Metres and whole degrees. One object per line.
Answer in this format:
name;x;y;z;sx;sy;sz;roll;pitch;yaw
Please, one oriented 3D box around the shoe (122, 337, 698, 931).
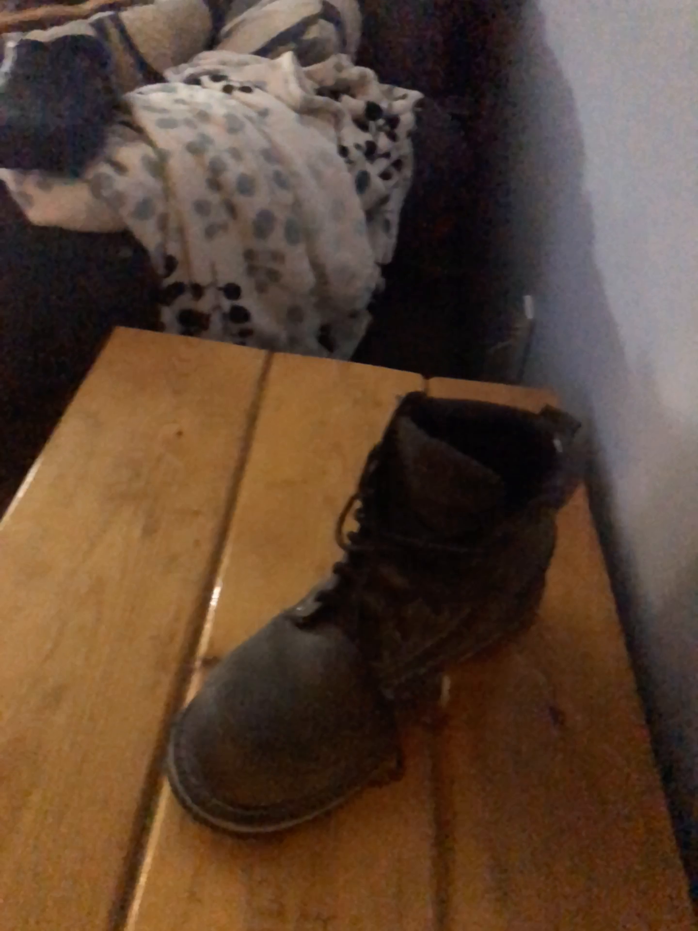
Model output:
shoe;0.050;0.076;0.456;0.320;0.189;0.130;-25;50;-35
